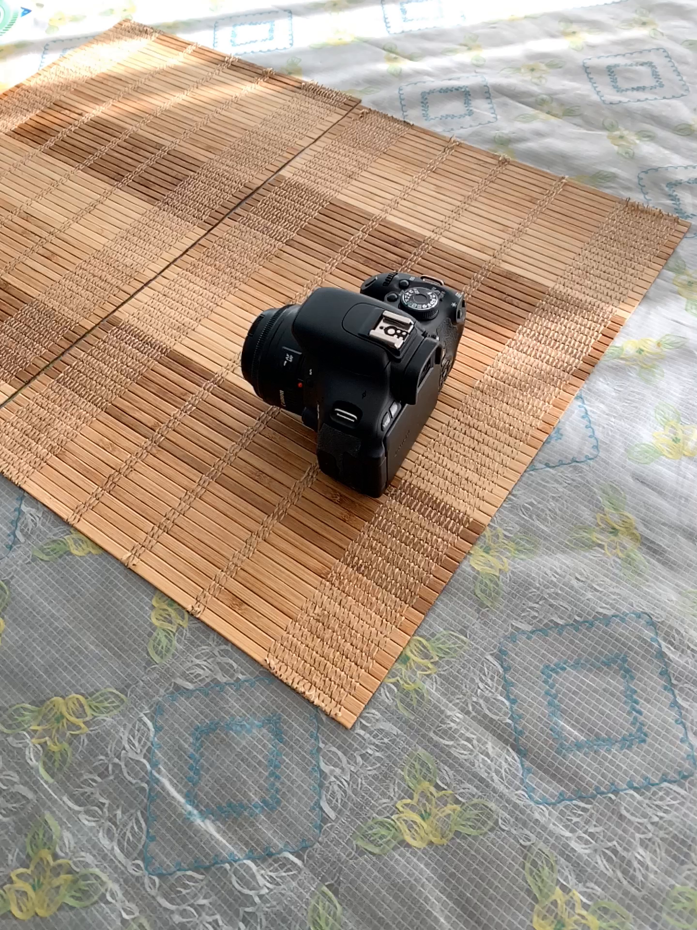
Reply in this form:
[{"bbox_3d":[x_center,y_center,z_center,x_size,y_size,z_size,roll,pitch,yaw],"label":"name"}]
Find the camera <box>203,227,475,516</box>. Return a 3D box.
[{"bbox_3d":[0.000,-0.061,0.441,0.106,0.080,0.133,22,60,18],"label":"camera"}]
